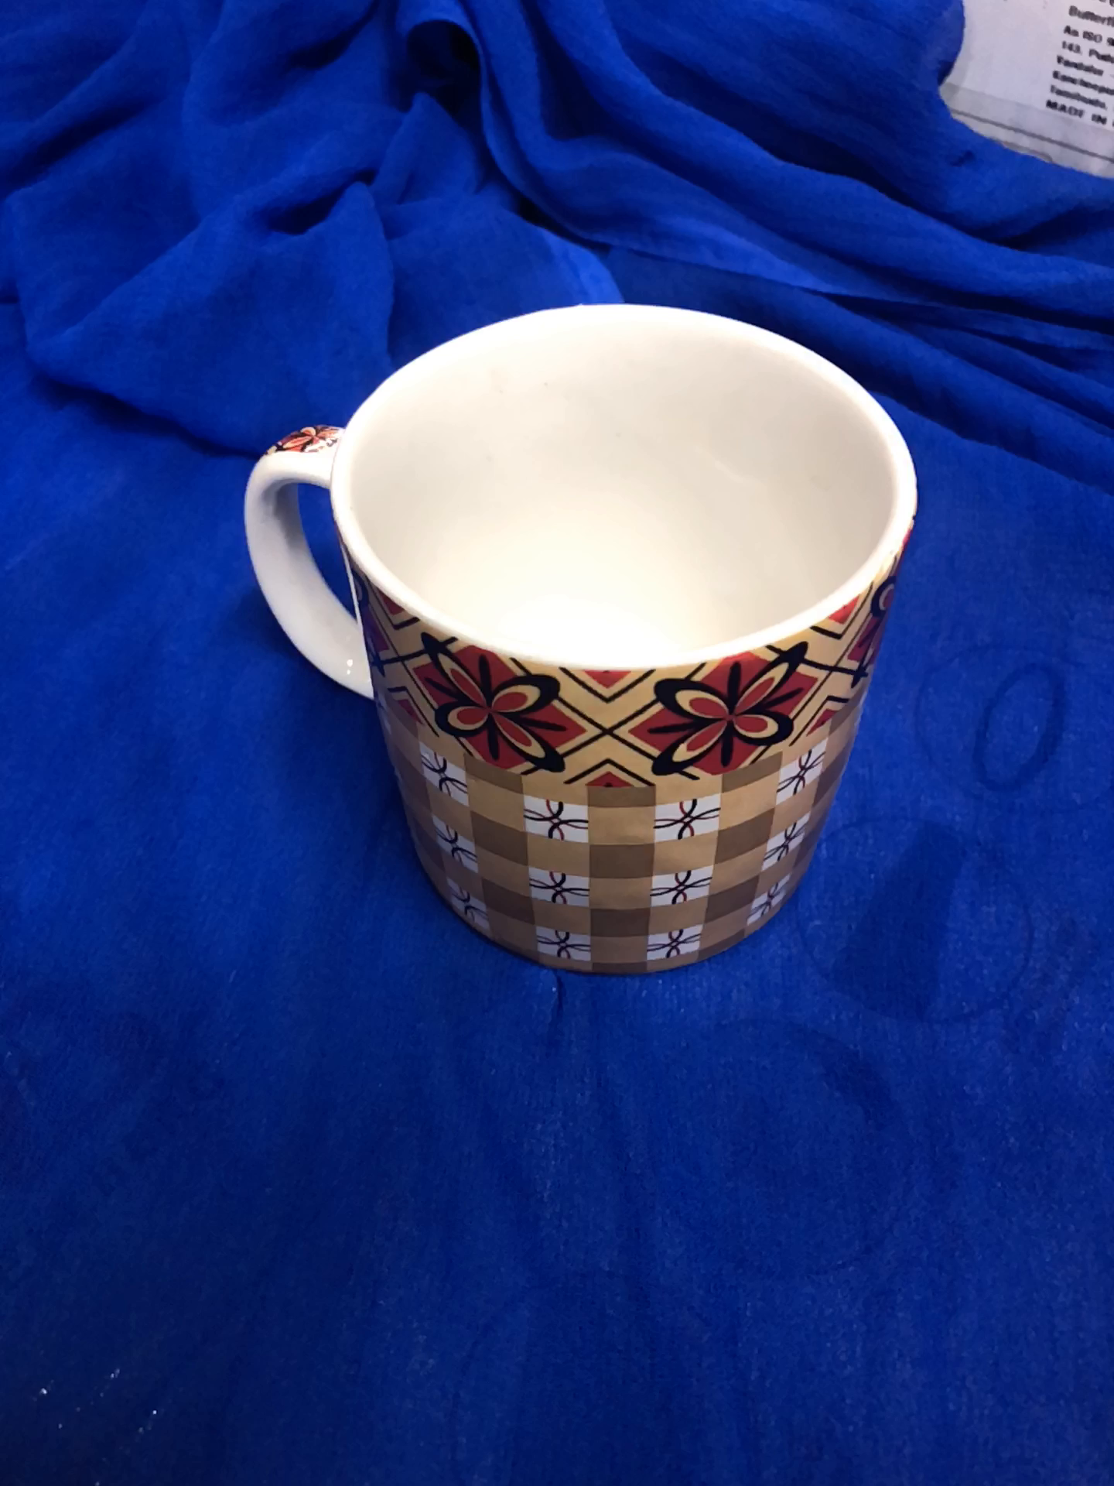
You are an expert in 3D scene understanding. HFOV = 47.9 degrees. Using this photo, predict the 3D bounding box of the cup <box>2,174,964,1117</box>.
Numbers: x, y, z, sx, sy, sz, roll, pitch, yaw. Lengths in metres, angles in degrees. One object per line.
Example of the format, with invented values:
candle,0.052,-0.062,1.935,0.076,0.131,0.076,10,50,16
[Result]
cup,-0.009,-0.013,0.198,0.100,0.099,0.070,24,55,14
